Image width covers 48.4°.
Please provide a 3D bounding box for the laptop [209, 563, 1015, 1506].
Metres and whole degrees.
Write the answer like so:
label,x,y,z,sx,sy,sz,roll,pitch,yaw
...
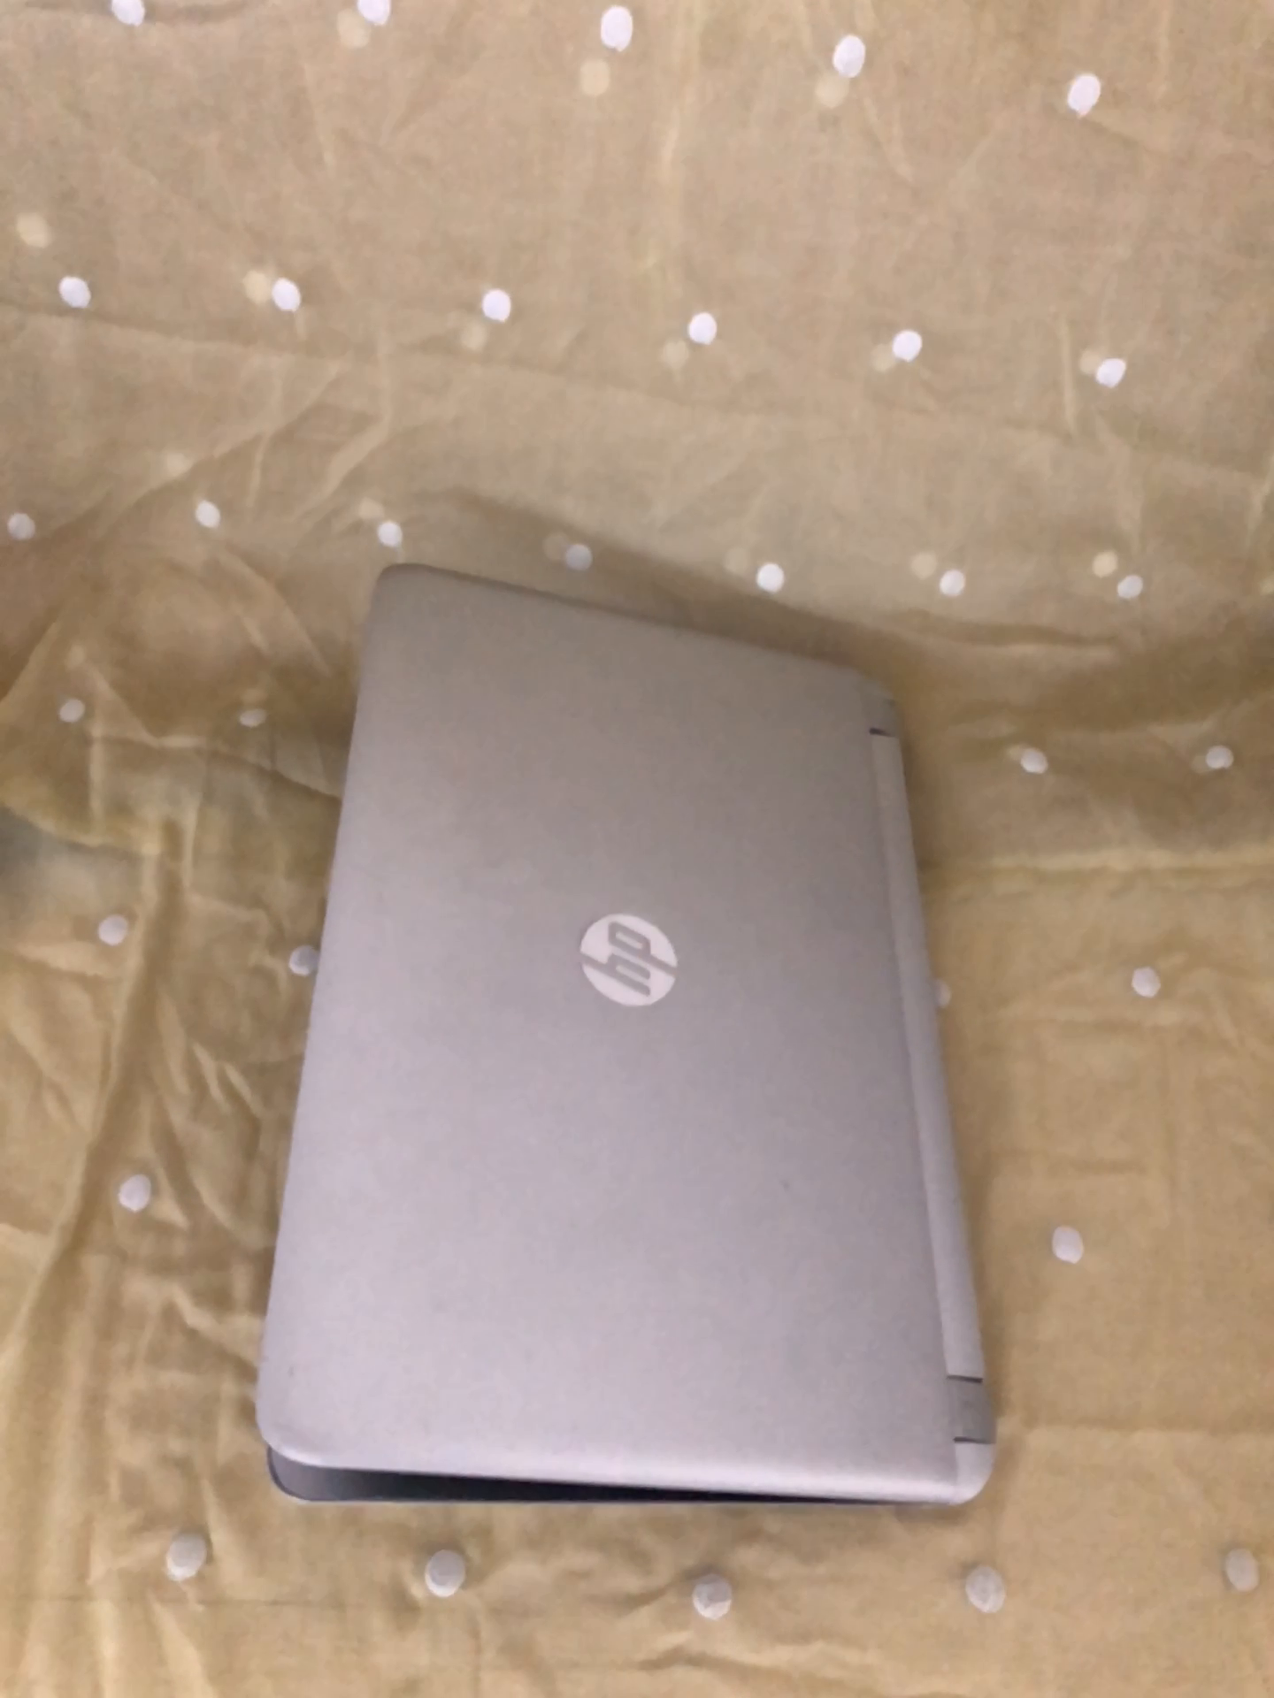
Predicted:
label,x,y,z,sx,sy,sz,roll,pitch,yaw
laptop,-0.007,0.051,0.559,0.243,0.077,0.367,1,56,-2
